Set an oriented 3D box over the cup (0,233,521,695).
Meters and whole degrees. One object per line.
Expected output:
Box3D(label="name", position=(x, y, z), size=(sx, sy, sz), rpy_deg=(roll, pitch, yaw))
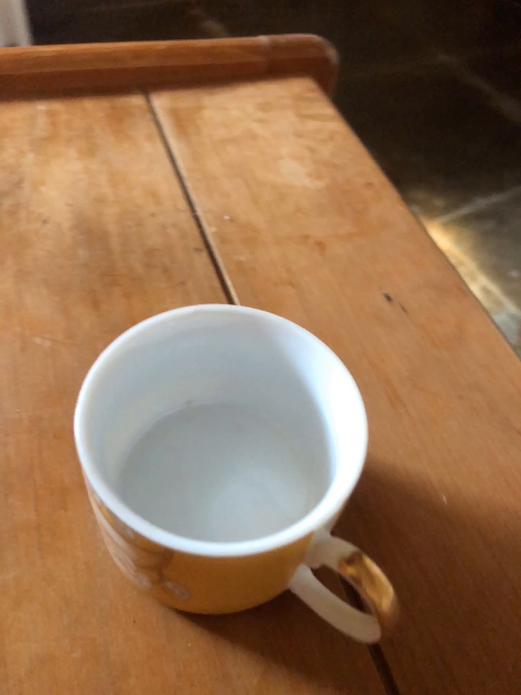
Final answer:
Box3D(label="cup", position=(0.005, 0.033, 0.125), size=(0.090, 0.050, 0.070), rpy_deg=(39, 57, 22))
